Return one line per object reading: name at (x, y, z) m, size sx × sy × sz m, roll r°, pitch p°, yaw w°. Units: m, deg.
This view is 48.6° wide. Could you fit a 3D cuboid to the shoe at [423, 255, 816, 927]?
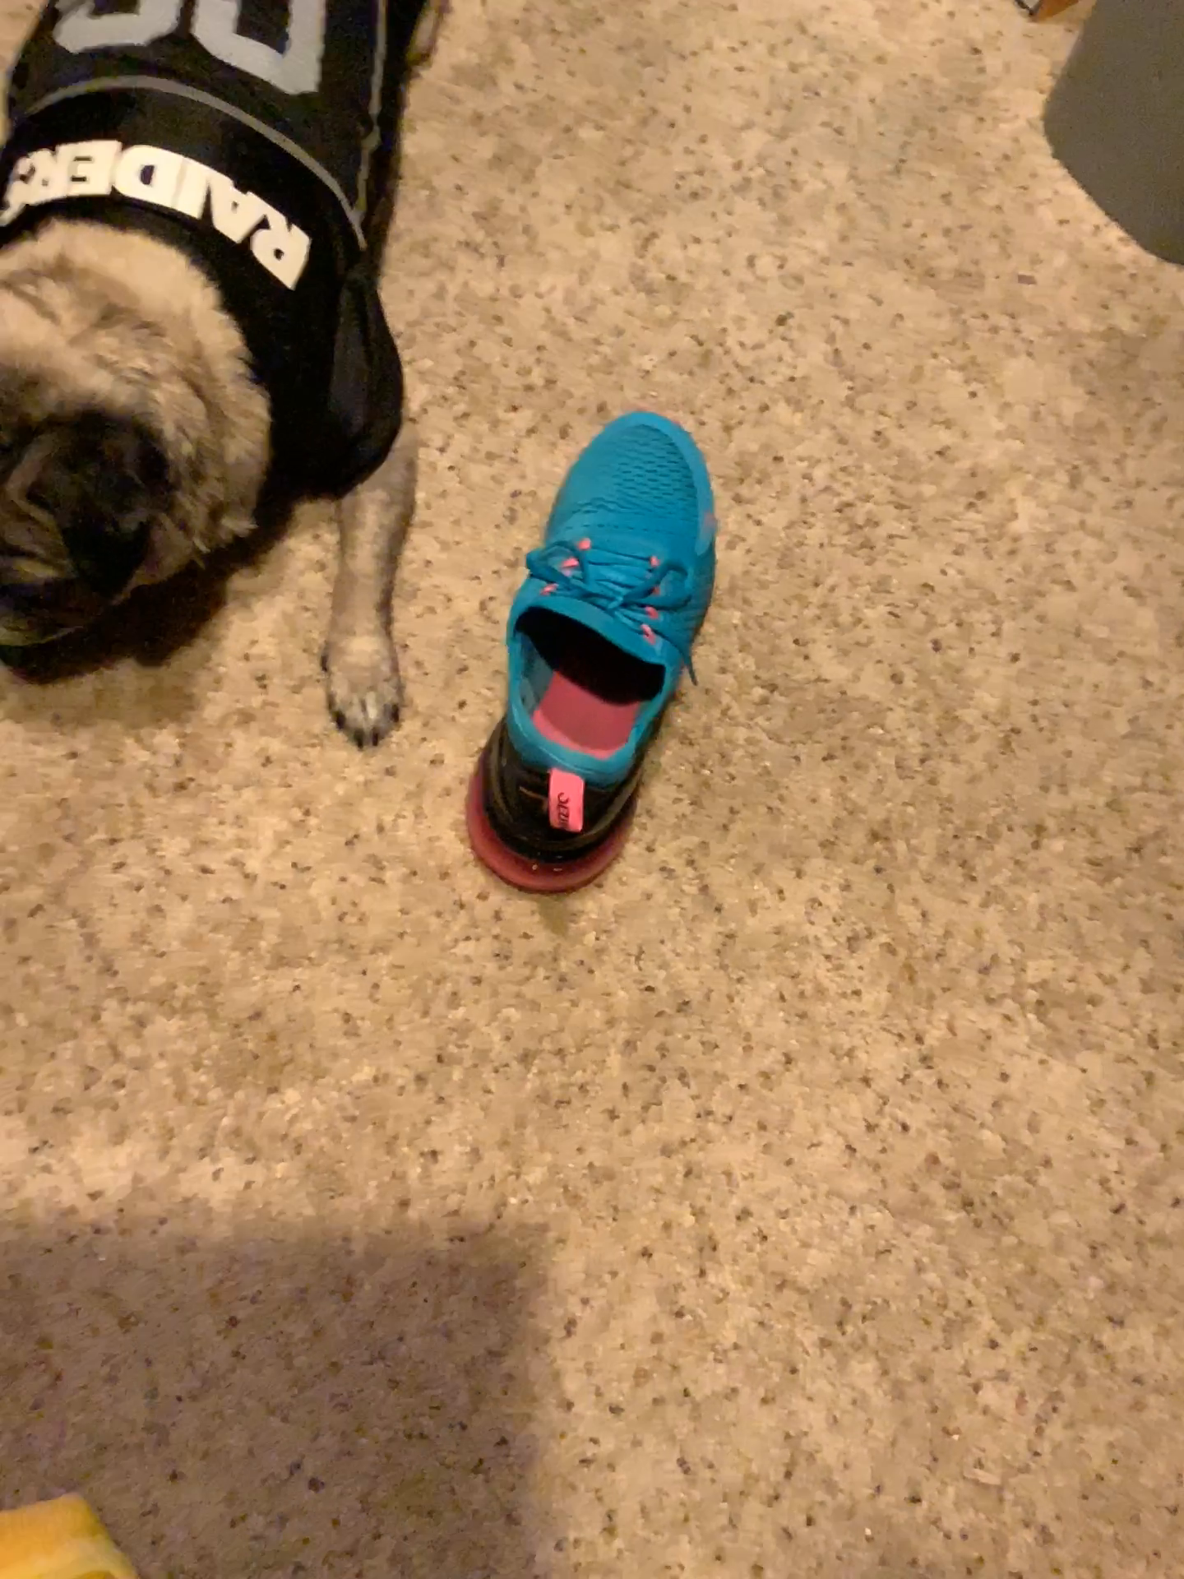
shoe at (0.015, -0.111, 0.768) m, size 0.130 × 0.140 × 0.340 m, roll 16°, pitch 72°, yaw -5°
